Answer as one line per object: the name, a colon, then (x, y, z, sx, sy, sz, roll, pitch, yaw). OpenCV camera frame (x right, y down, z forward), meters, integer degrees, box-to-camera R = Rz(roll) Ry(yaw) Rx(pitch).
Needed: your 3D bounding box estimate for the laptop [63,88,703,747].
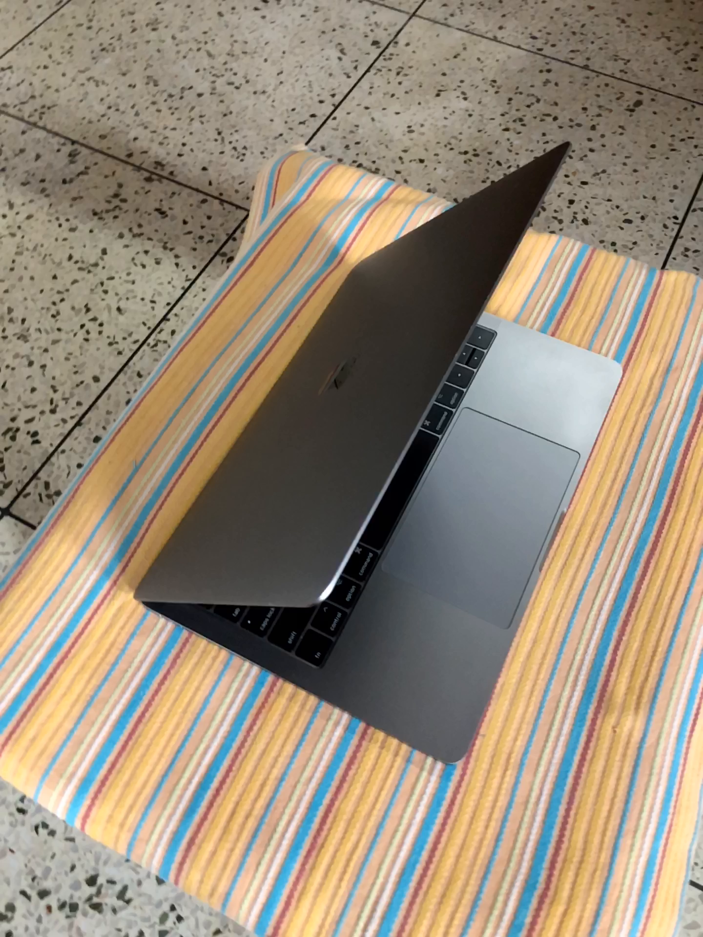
laptop: (0.033, -0.037, 0.451, 0.203, 0.160, 0.295, 25, 63, 13)
